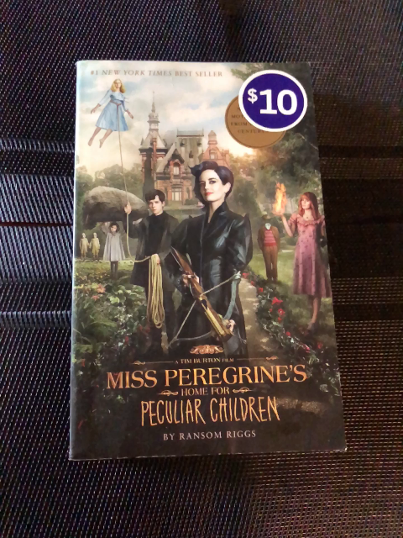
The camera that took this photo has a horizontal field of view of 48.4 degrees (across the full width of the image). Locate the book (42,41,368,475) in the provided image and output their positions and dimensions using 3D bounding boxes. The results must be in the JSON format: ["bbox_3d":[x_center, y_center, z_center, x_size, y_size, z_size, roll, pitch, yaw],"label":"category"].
[{"bbox_3d":[0.000,-0.012,0.264,0.160,0.050,0.230,0,80,-4],"label":"book"}]
